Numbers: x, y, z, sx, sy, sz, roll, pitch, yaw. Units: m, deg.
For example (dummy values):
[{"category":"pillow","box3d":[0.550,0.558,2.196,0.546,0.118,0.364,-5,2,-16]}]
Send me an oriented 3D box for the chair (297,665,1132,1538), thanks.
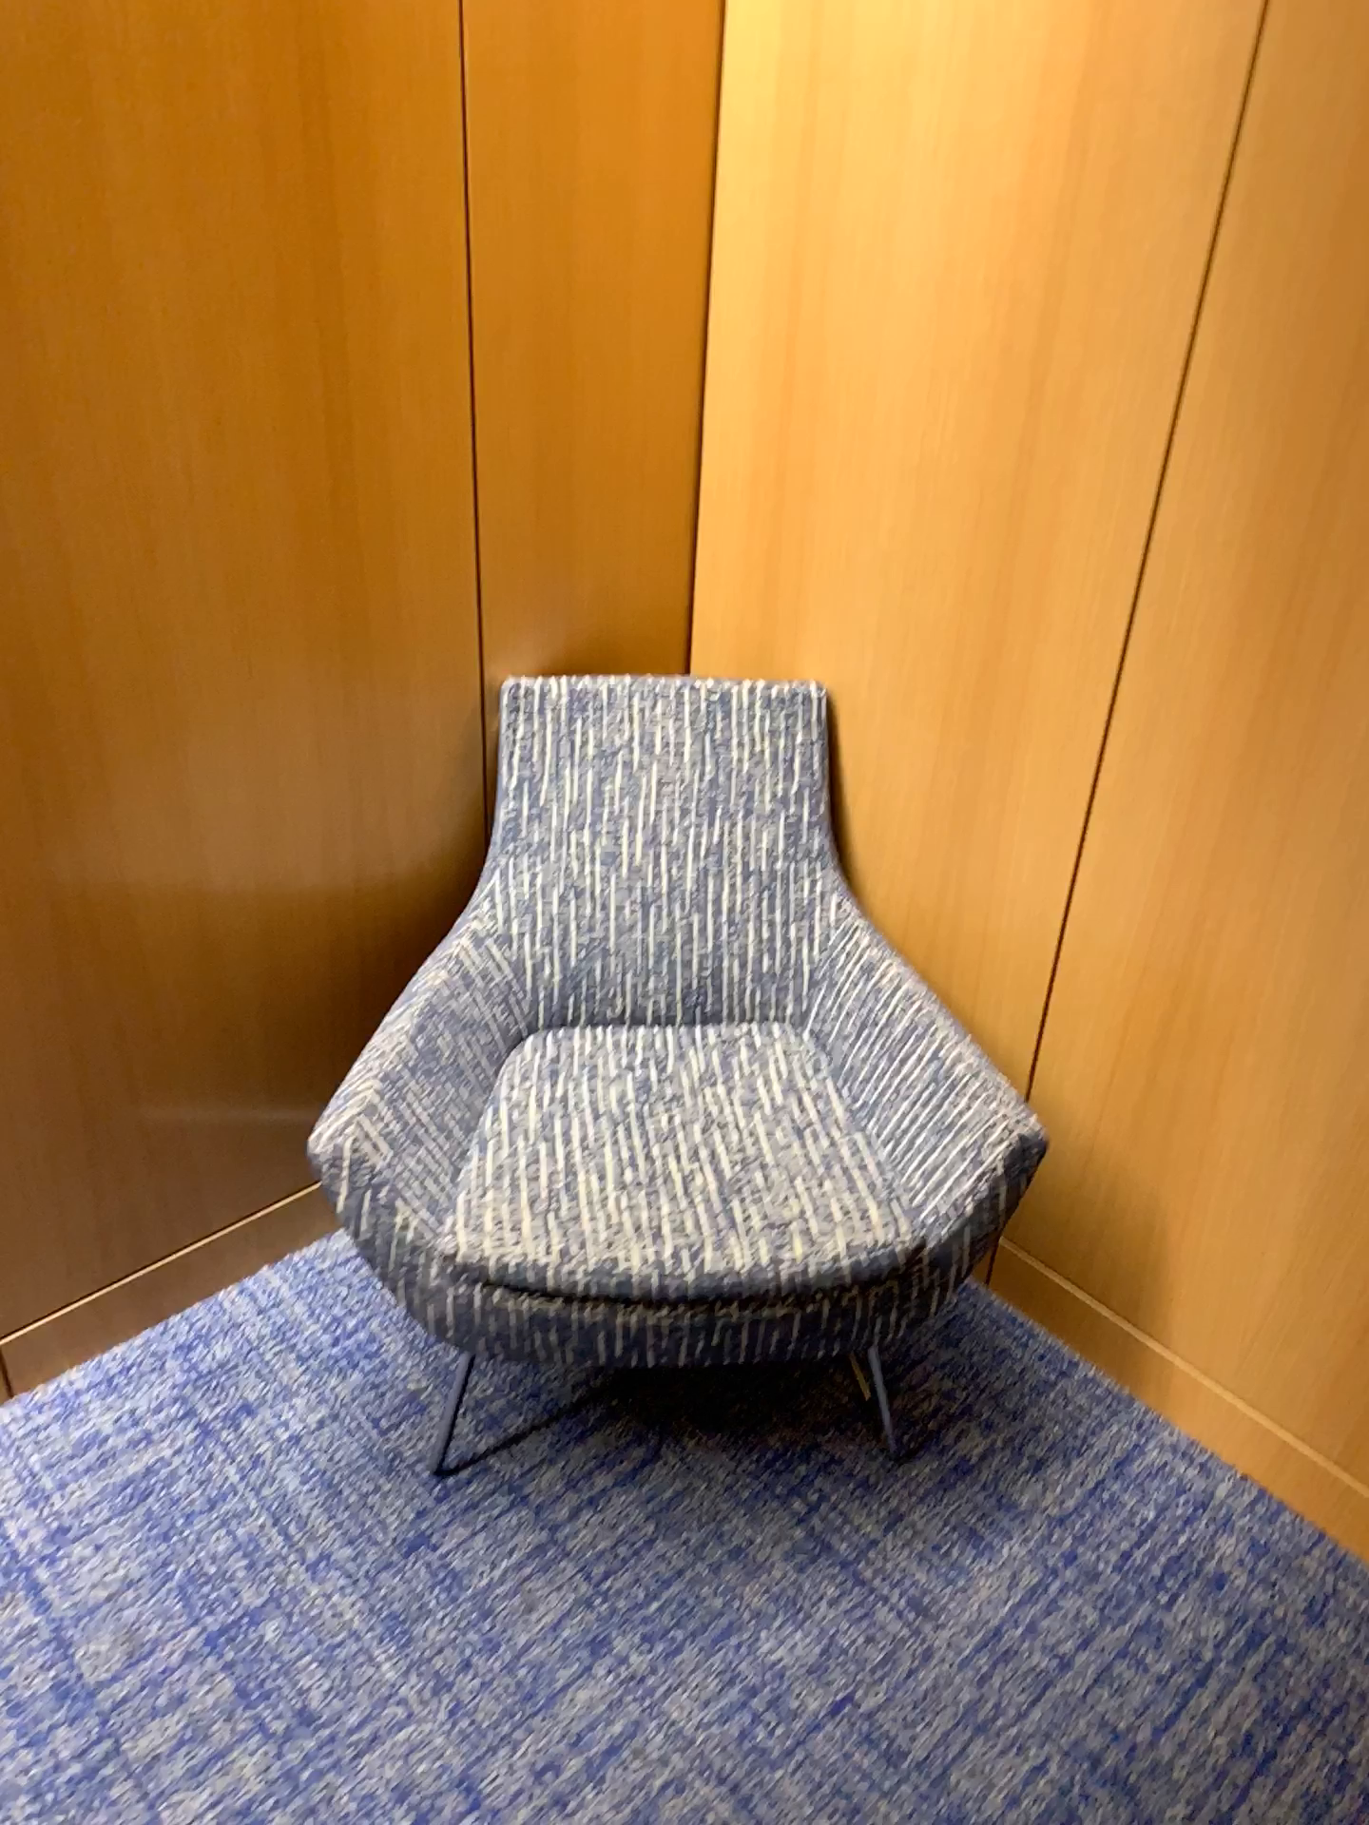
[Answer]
[{"category":"chair","box3d":[-0.013,0.185,1.612,0.699,0.746,0.617,-1,31,-7]}]
